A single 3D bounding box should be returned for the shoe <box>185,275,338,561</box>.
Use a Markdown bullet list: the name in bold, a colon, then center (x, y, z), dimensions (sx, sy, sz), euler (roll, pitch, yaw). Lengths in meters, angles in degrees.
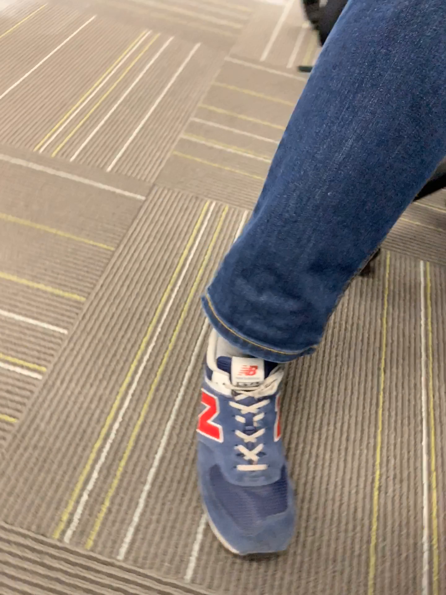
- **shoe**: center (0.026, 0.136, 0.574), dimensions (0.108, 0.139, 0.308), euler (-1, 53, -11)
